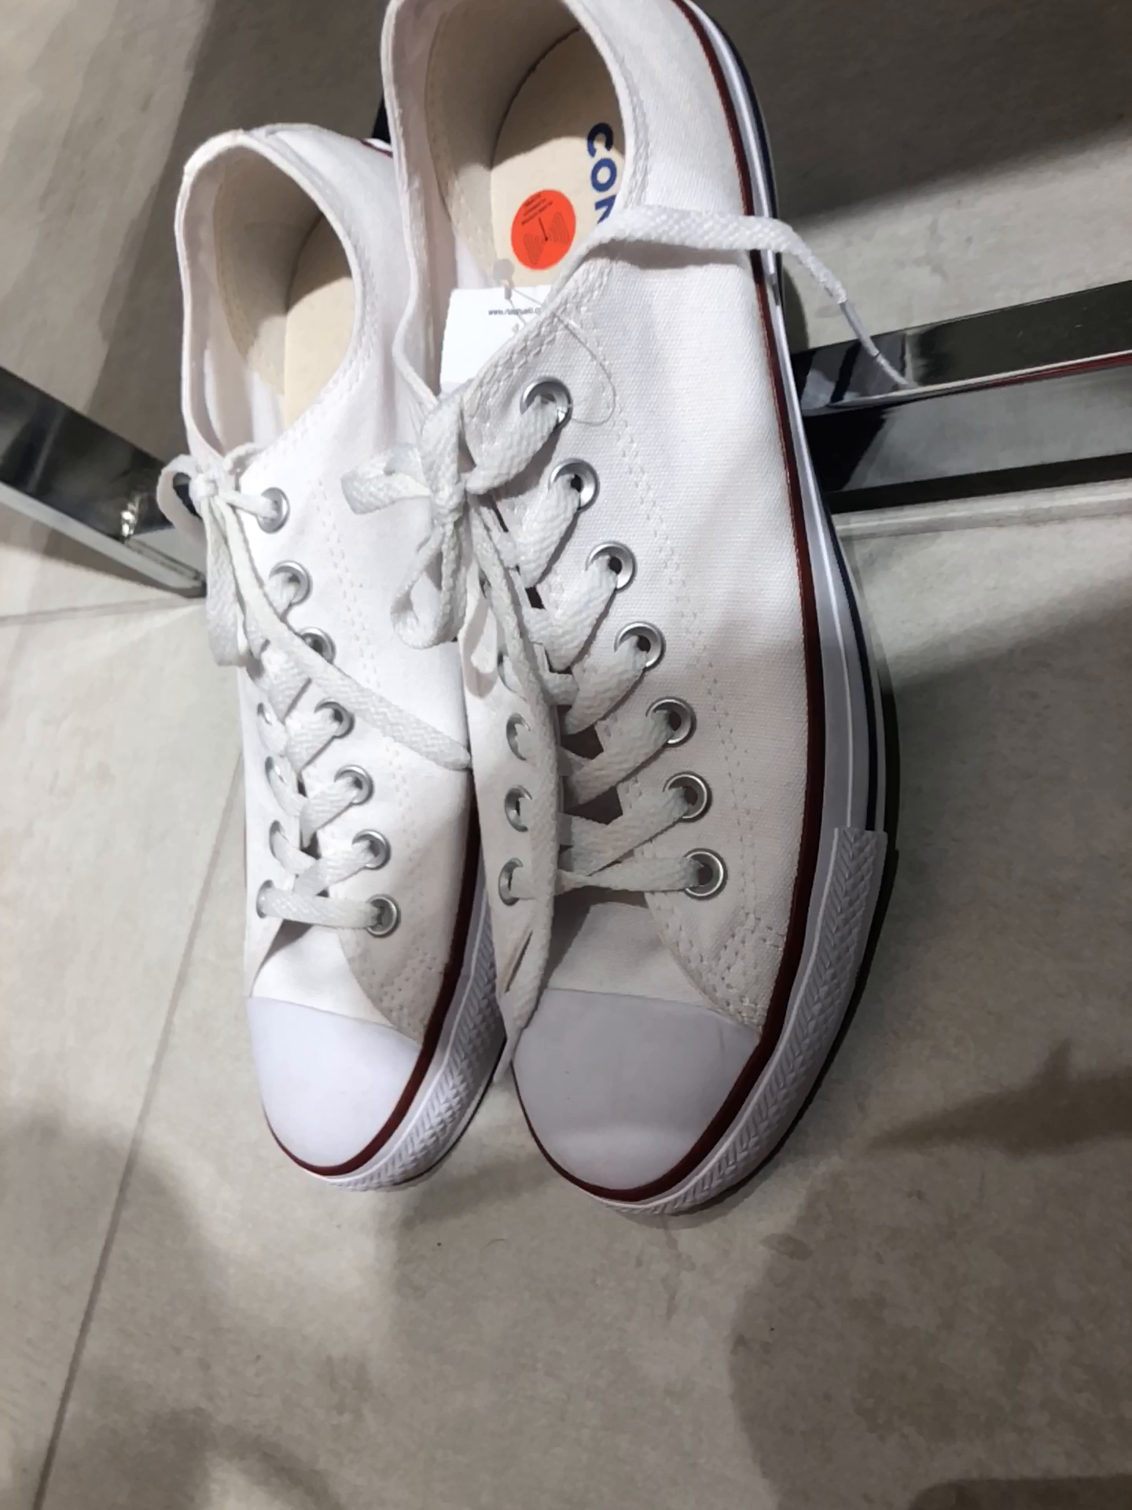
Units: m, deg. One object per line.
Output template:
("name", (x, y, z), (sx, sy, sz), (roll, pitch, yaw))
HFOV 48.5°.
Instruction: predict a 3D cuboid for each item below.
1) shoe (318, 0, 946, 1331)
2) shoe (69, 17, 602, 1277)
("shoe", (0.018, -0.040, 0.295), (0.100, 0.090, 0.290), (-1, 93, 39))
("shoe", (-0.064, -0.025, 0.360), (0.110, 0.090, 0.290), (1, 95, 40))
